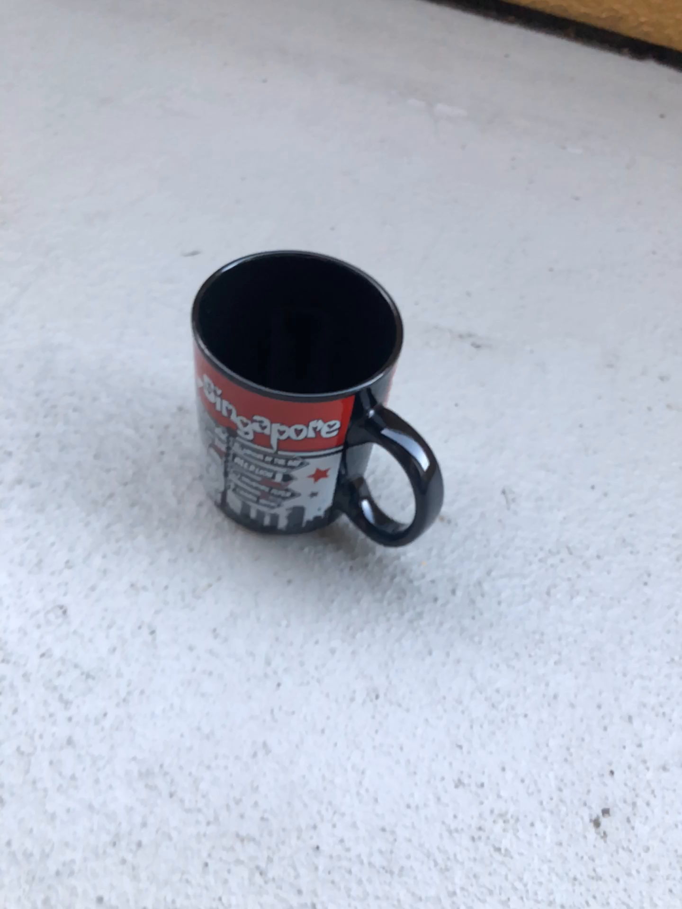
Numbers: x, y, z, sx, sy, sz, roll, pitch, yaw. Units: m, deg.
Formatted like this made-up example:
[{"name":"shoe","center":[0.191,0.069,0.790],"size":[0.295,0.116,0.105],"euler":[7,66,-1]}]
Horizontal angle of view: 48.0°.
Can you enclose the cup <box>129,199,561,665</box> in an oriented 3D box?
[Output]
[{"name":"cup","center":[-0.006,-0.009,0.306],"size":[0.130,0.110,0.080],"euler":[40,58,21]}]
